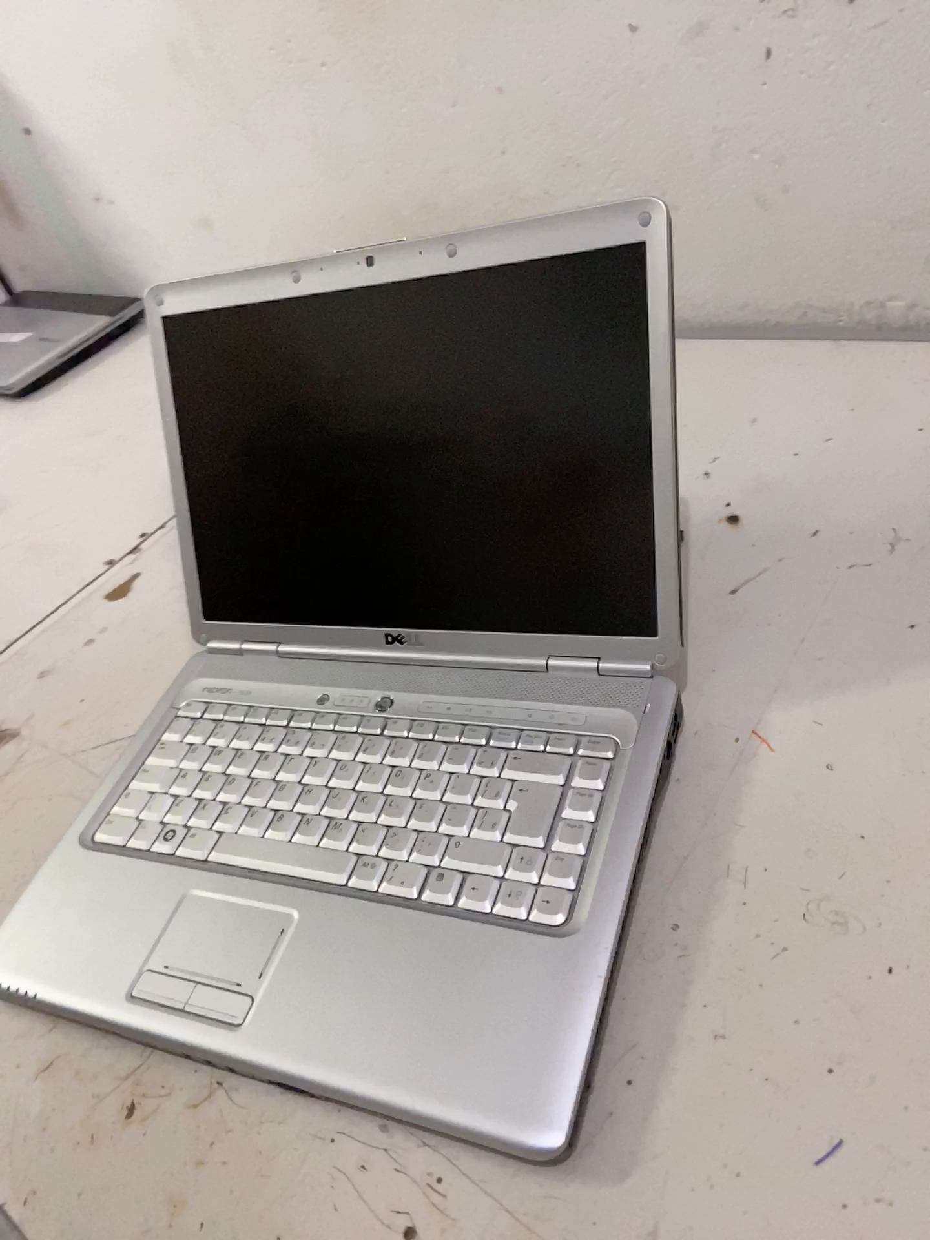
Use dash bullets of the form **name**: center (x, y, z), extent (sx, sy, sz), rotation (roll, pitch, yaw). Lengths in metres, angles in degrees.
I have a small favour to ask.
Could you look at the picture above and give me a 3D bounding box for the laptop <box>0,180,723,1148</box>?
- **laptop**: center (-0.083, -0.011, 0.502), extent (0.349, 0.208, 0.379), rotation (2, 46, 27)
